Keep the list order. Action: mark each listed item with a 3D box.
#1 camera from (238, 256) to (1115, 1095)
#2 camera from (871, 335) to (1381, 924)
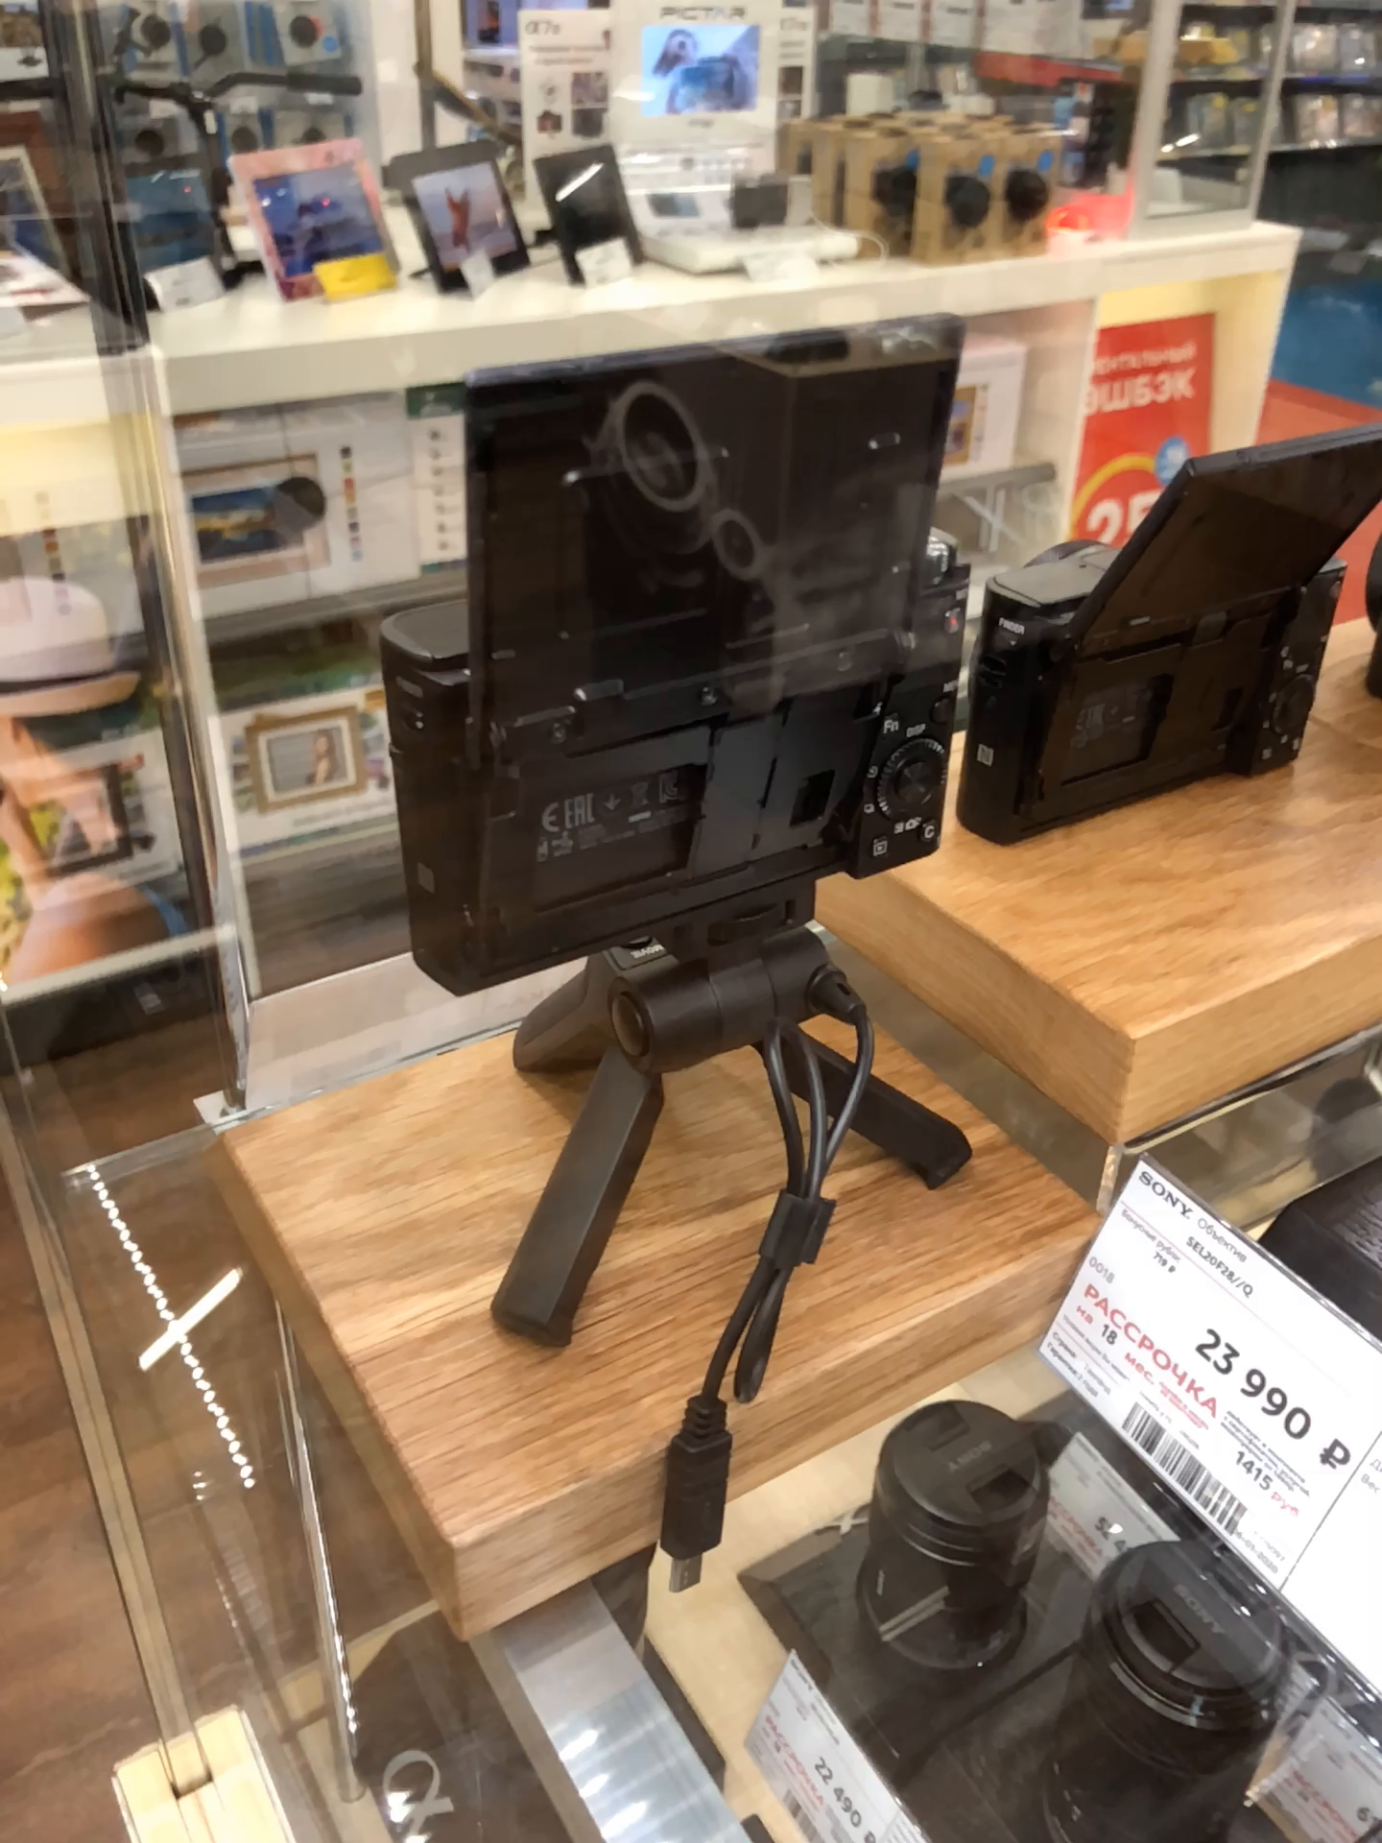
[{"bbox_3d":[-0.003,-0.045,0.244,0.109,0.097,0.063,-17,37,-27],"label":"camera"},{"bbox_3d":[0.110,-0.071,0.351,0.109,0.097,0.070,-17,37,-27],"label":"camera"}]
